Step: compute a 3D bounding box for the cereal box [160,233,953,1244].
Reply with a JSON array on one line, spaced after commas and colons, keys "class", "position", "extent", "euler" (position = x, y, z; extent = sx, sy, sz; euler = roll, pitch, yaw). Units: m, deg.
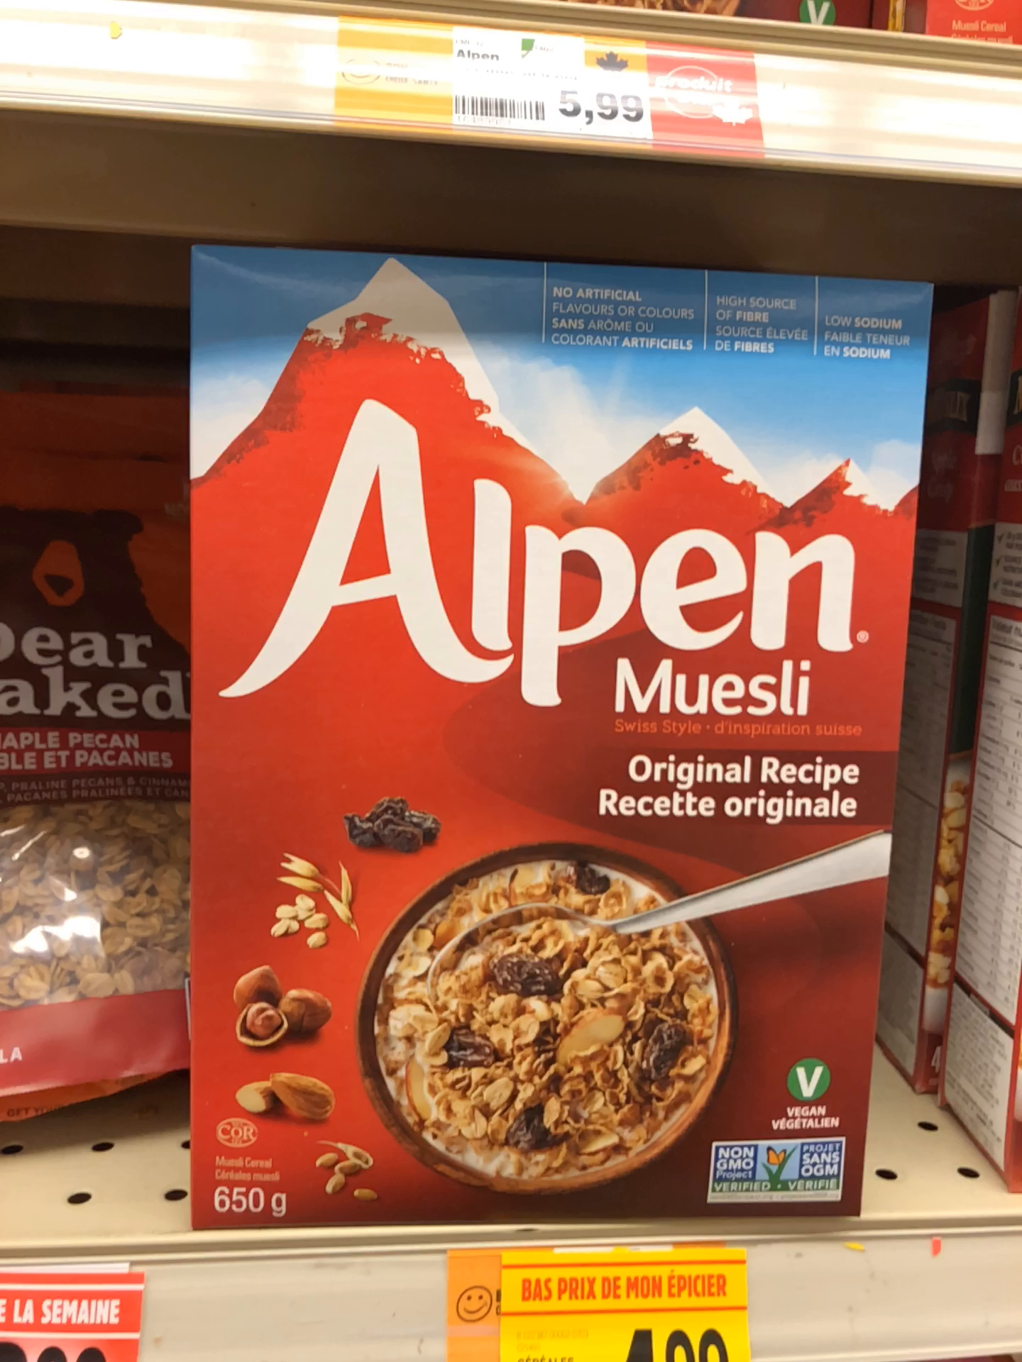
[{"class": "cereal box", "position": [0.005, 0.018, 0.303], "extent": [0.180, 0.239, 0.060], "euler": [1, 9, -6]}]
